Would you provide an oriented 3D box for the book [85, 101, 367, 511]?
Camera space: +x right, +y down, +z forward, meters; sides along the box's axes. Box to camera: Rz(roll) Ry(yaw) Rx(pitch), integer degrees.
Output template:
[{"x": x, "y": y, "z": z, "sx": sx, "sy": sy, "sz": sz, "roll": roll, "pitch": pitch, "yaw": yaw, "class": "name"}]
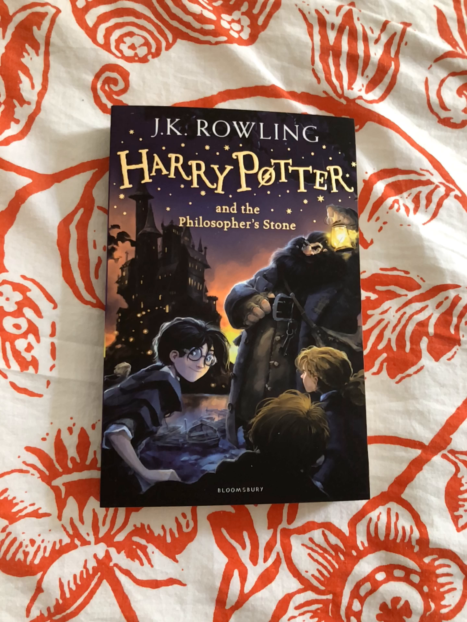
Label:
[{"x": 0.000, "y": -0.003, "z": 0.254, "sx": 0.127, "sy": 0.020, "sz": 0.189, "roll": 2, "pitch": 83, "yaw": -6, "class": "book"}]
